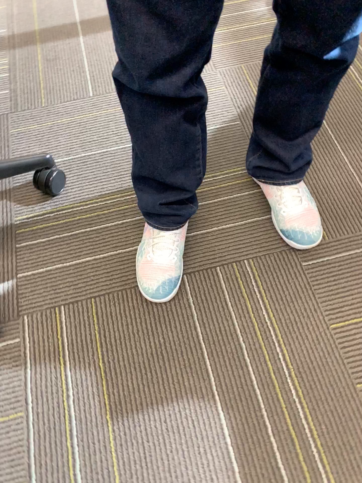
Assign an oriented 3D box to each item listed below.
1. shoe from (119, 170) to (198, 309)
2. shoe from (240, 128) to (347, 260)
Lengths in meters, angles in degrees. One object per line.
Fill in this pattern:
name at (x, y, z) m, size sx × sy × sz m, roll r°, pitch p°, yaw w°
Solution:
shoe at (-0.040, -0.010, 0.806) m, size 0.117 × 0.088 × 0.283 m, roll 6°, pitch 64°, yaw 6°
shoe at (0.247, -0.115, 0.857) m, size 0.122 × 0.078 × 0.290 m, roll -16°, pitch 63°, yaw -3°
